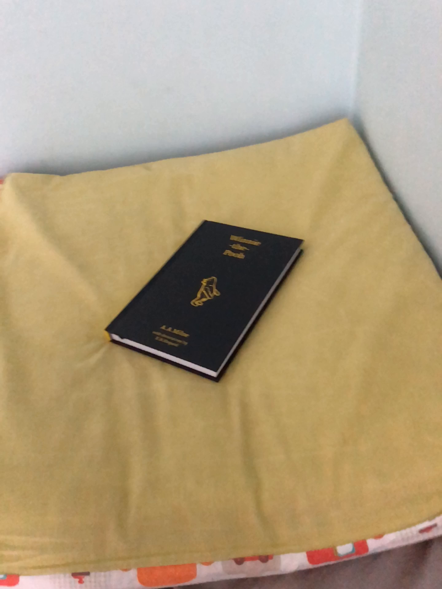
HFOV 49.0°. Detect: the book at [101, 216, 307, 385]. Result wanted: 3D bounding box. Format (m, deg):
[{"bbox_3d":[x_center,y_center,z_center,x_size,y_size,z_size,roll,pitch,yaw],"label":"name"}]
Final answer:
[{"bbox_3d":[-0.012,-0.009,0.570,0.150,0.020,0.221,16,50,27],"label":"book"}]
